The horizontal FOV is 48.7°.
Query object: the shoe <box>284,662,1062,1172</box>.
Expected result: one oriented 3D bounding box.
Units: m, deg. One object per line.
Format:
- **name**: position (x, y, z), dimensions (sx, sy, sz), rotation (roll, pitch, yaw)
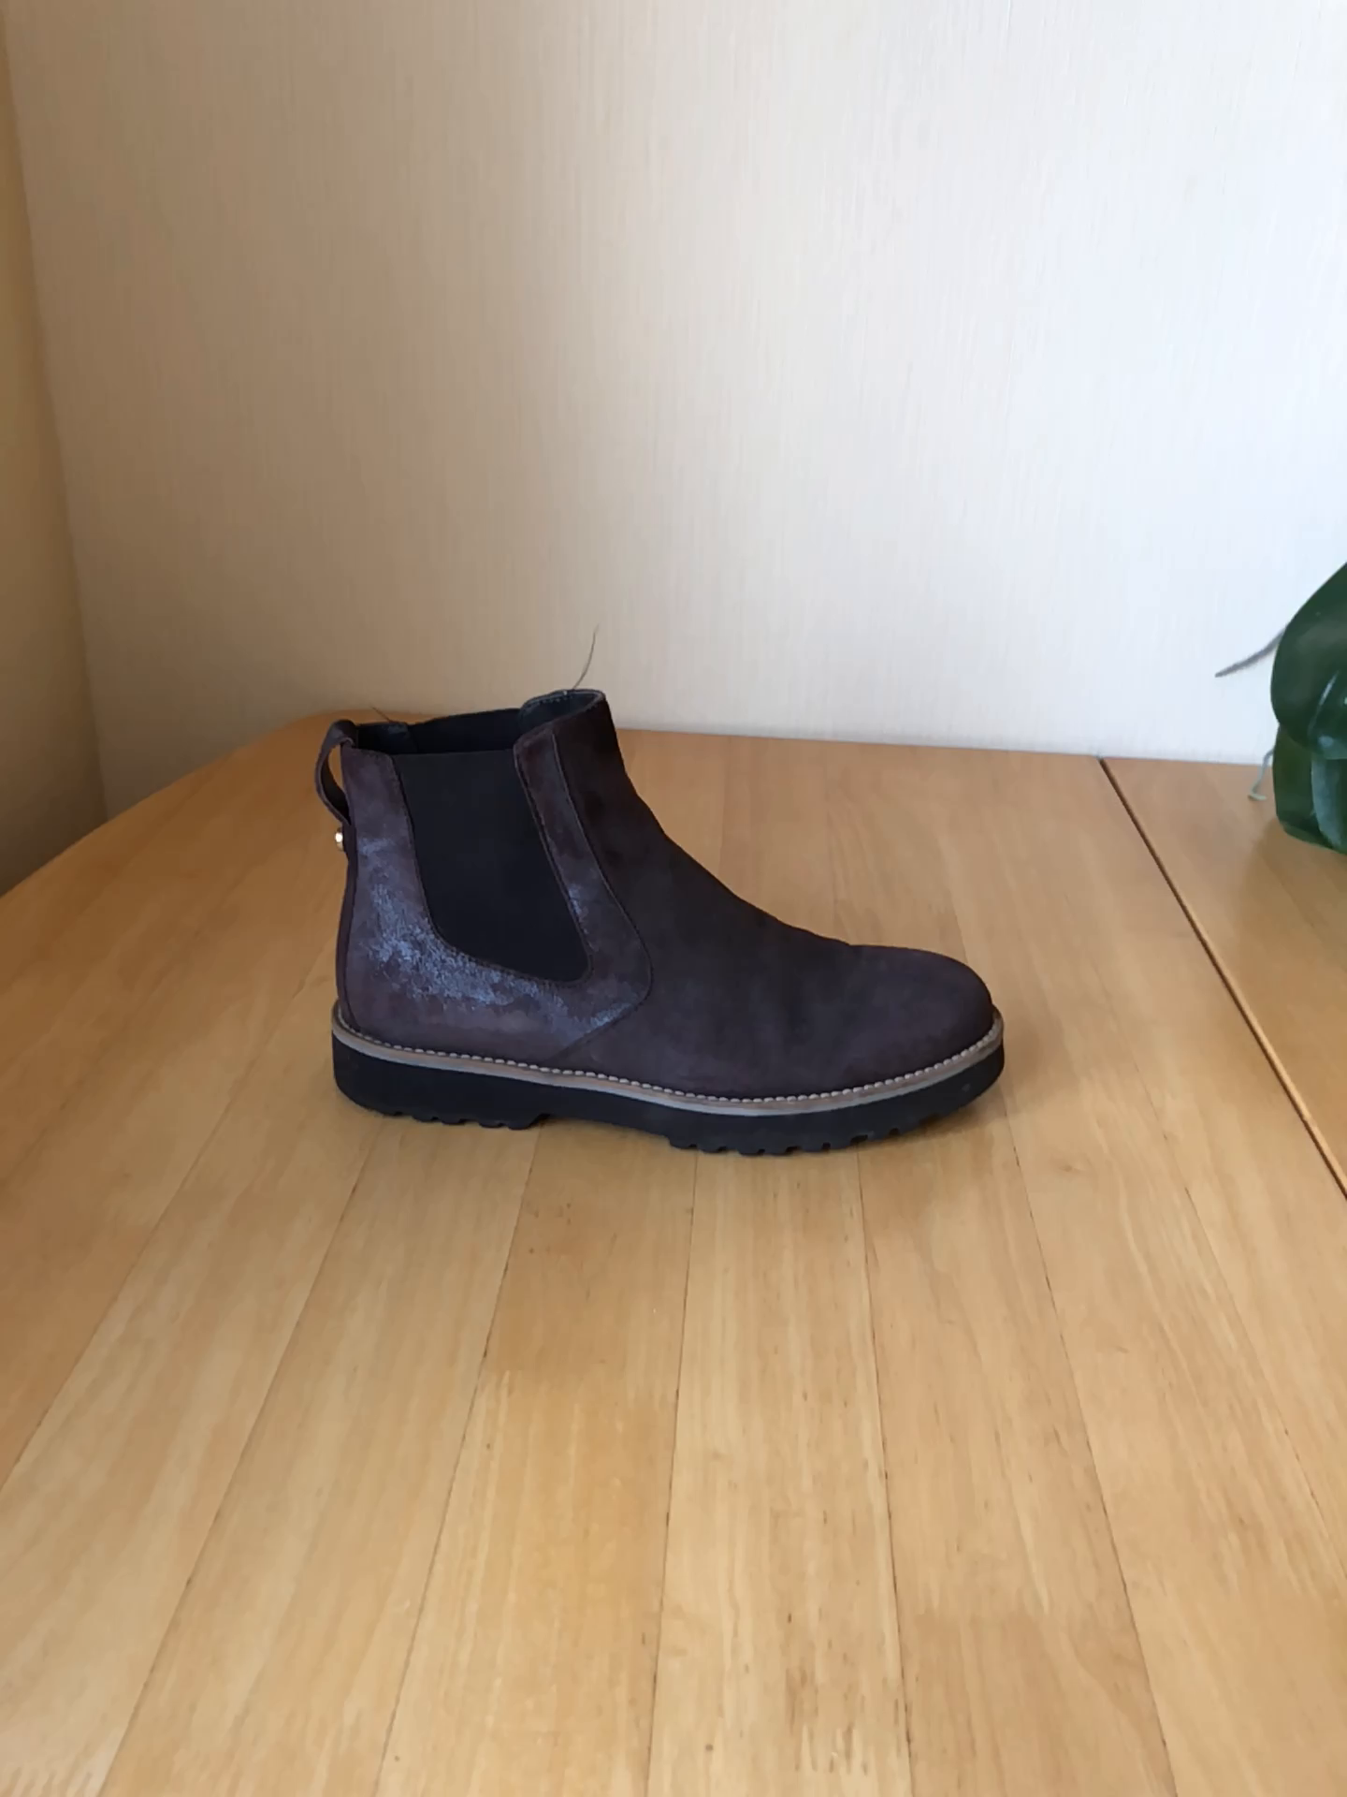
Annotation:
- **shoe**: position (0.001, 0.001, 0.489), dimensions (0.220, 0.120, 0.100), rotation (4, 25, 4)
